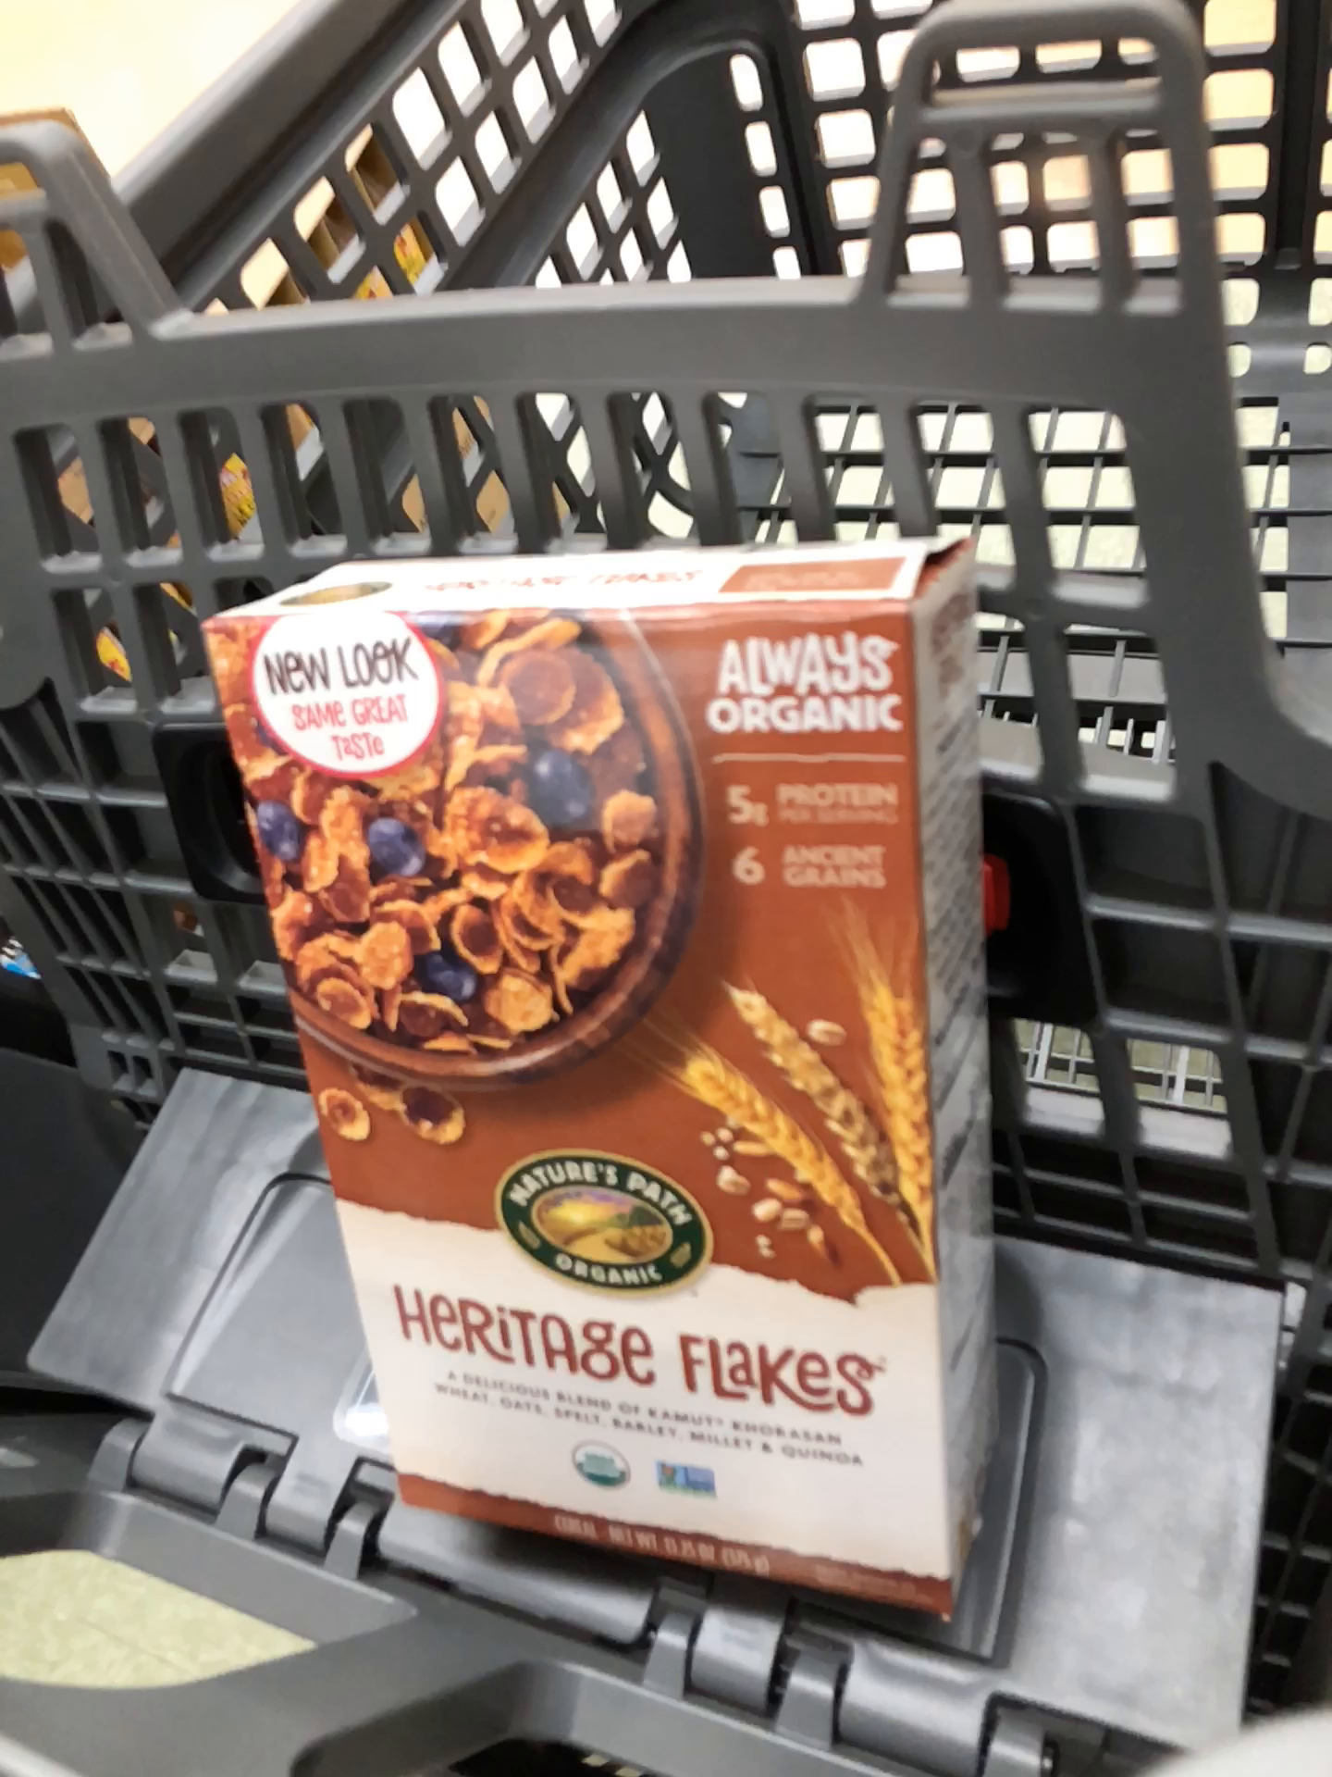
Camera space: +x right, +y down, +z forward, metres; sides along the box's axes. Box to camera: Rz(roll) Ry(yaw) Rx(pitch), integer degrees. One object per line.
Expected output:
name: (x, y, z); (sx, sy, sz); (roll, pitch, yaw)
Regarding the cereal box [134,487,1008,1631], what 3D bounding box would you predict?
cereal box: (-0.011, 0.042, 0.353); (0.170, 0.250, 0.060); (2, 22, 21)
